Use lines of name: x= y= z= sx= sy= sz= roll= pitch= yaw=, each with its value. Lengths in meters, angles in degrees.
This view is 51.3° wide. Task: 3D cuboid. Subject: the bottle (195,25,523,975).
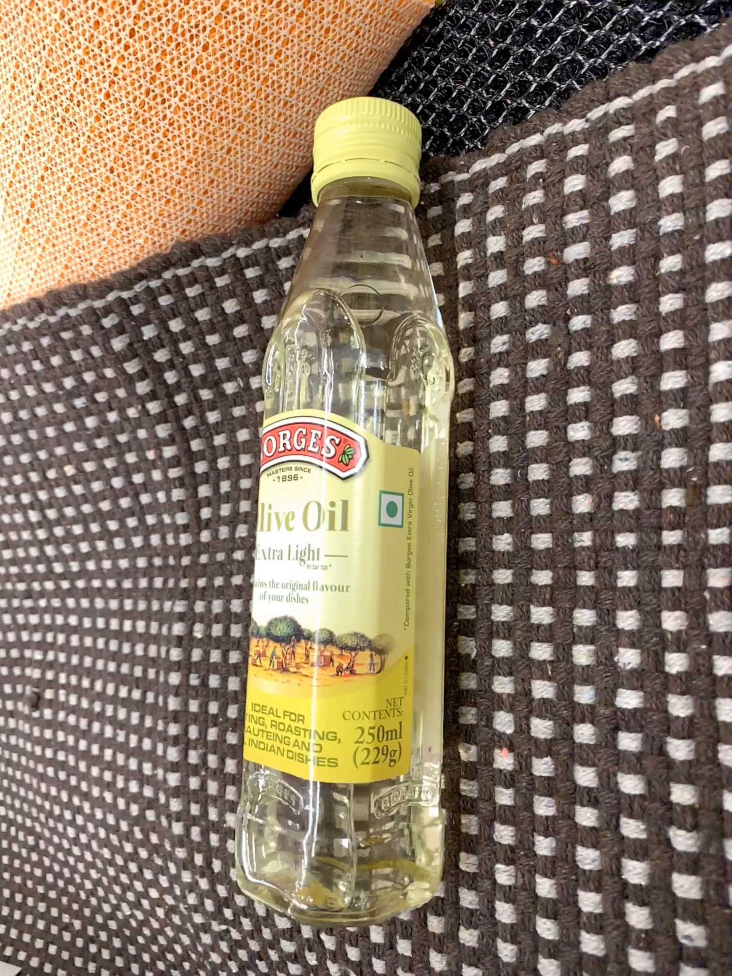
bottle: x=-0.002 y=0.001 z=0.193 sx=0.060 sy=0.040 sz=0.200 roll=0 pitch=85 yaw=43
